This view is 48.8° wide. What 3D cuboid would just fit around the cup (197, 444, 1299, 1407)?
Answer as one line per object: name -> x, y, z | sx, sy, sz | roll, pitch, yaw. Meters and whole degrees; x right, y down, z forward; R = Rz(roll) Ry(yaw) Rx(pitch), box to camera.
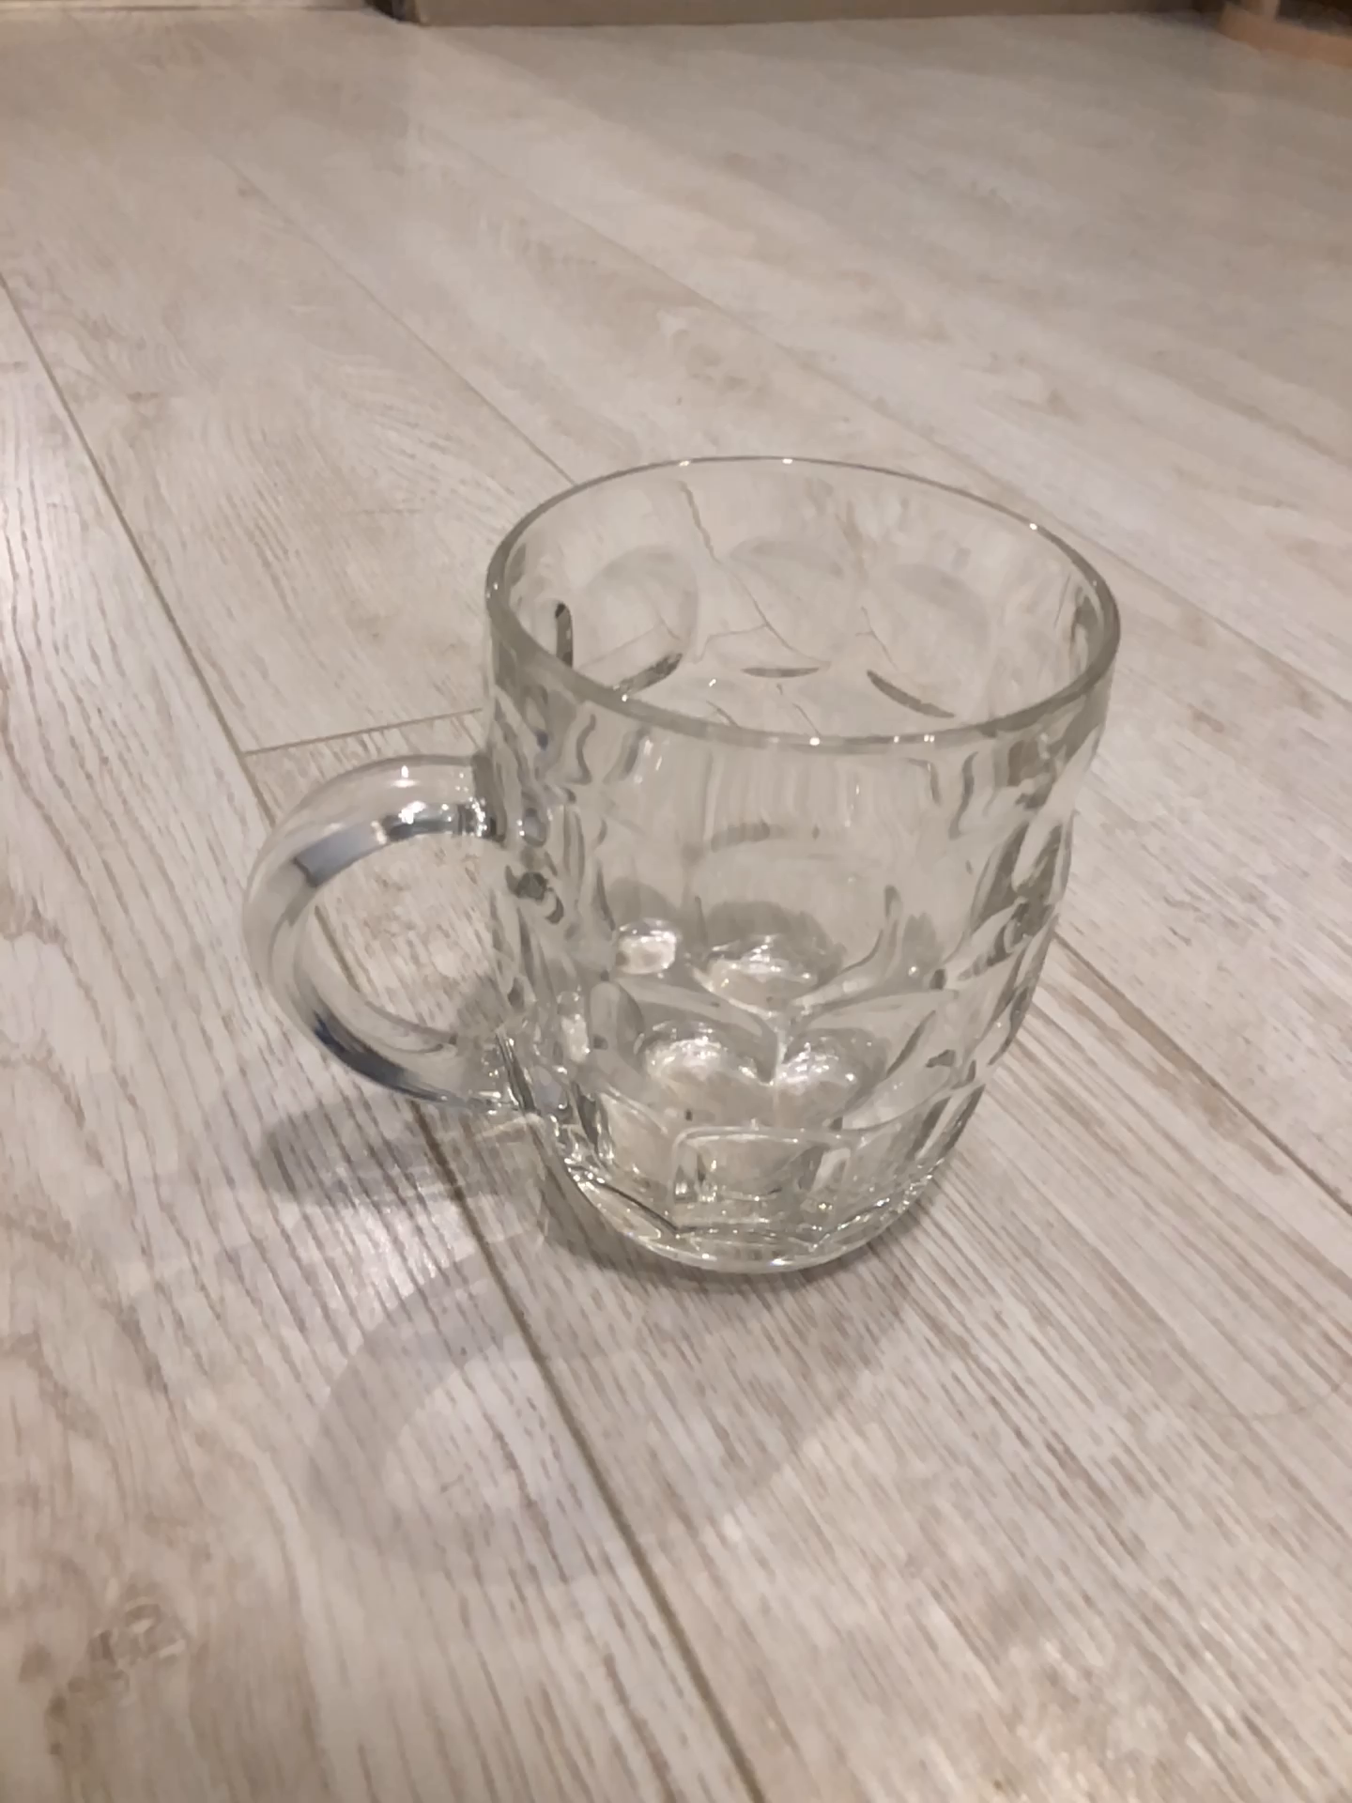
cup -> 0.000, -0.004, 0.253 | 0.140, 0.109, 0.101 | -7, 37, -15
